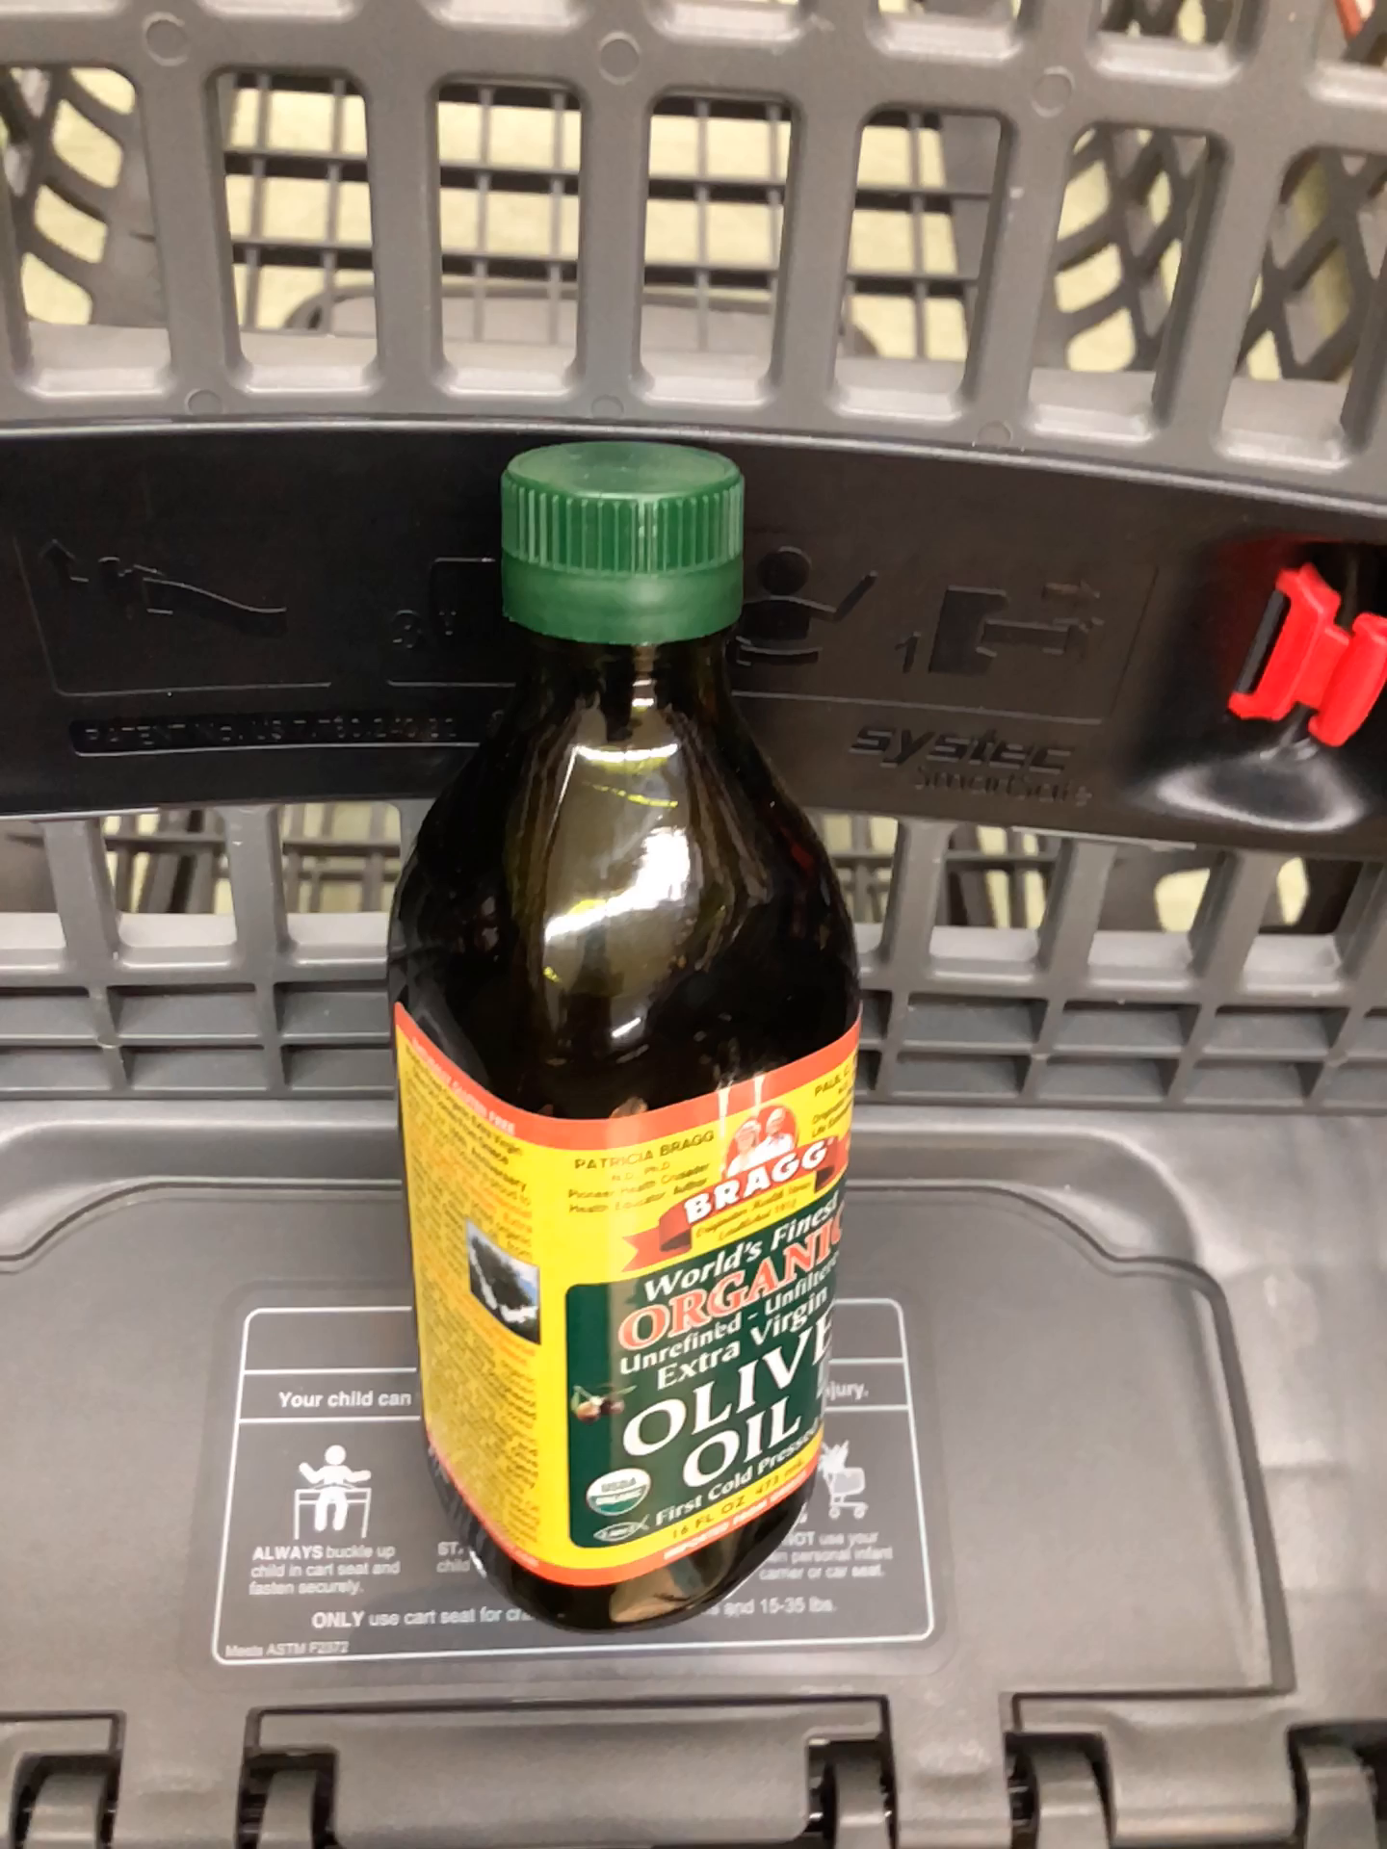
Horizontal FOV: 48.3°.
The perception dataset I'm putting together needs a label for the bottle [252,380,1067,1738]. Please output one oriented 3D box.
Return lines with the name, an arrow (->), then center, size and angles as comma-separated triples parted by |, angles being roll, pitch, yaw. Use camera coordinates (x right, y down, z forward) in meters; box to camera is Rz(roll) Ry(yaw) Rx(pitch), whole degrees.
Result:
bottle -> -0.011, 0.022, 0.247 | 0.080, 0.193, 0.070 | -16, 35, -32
